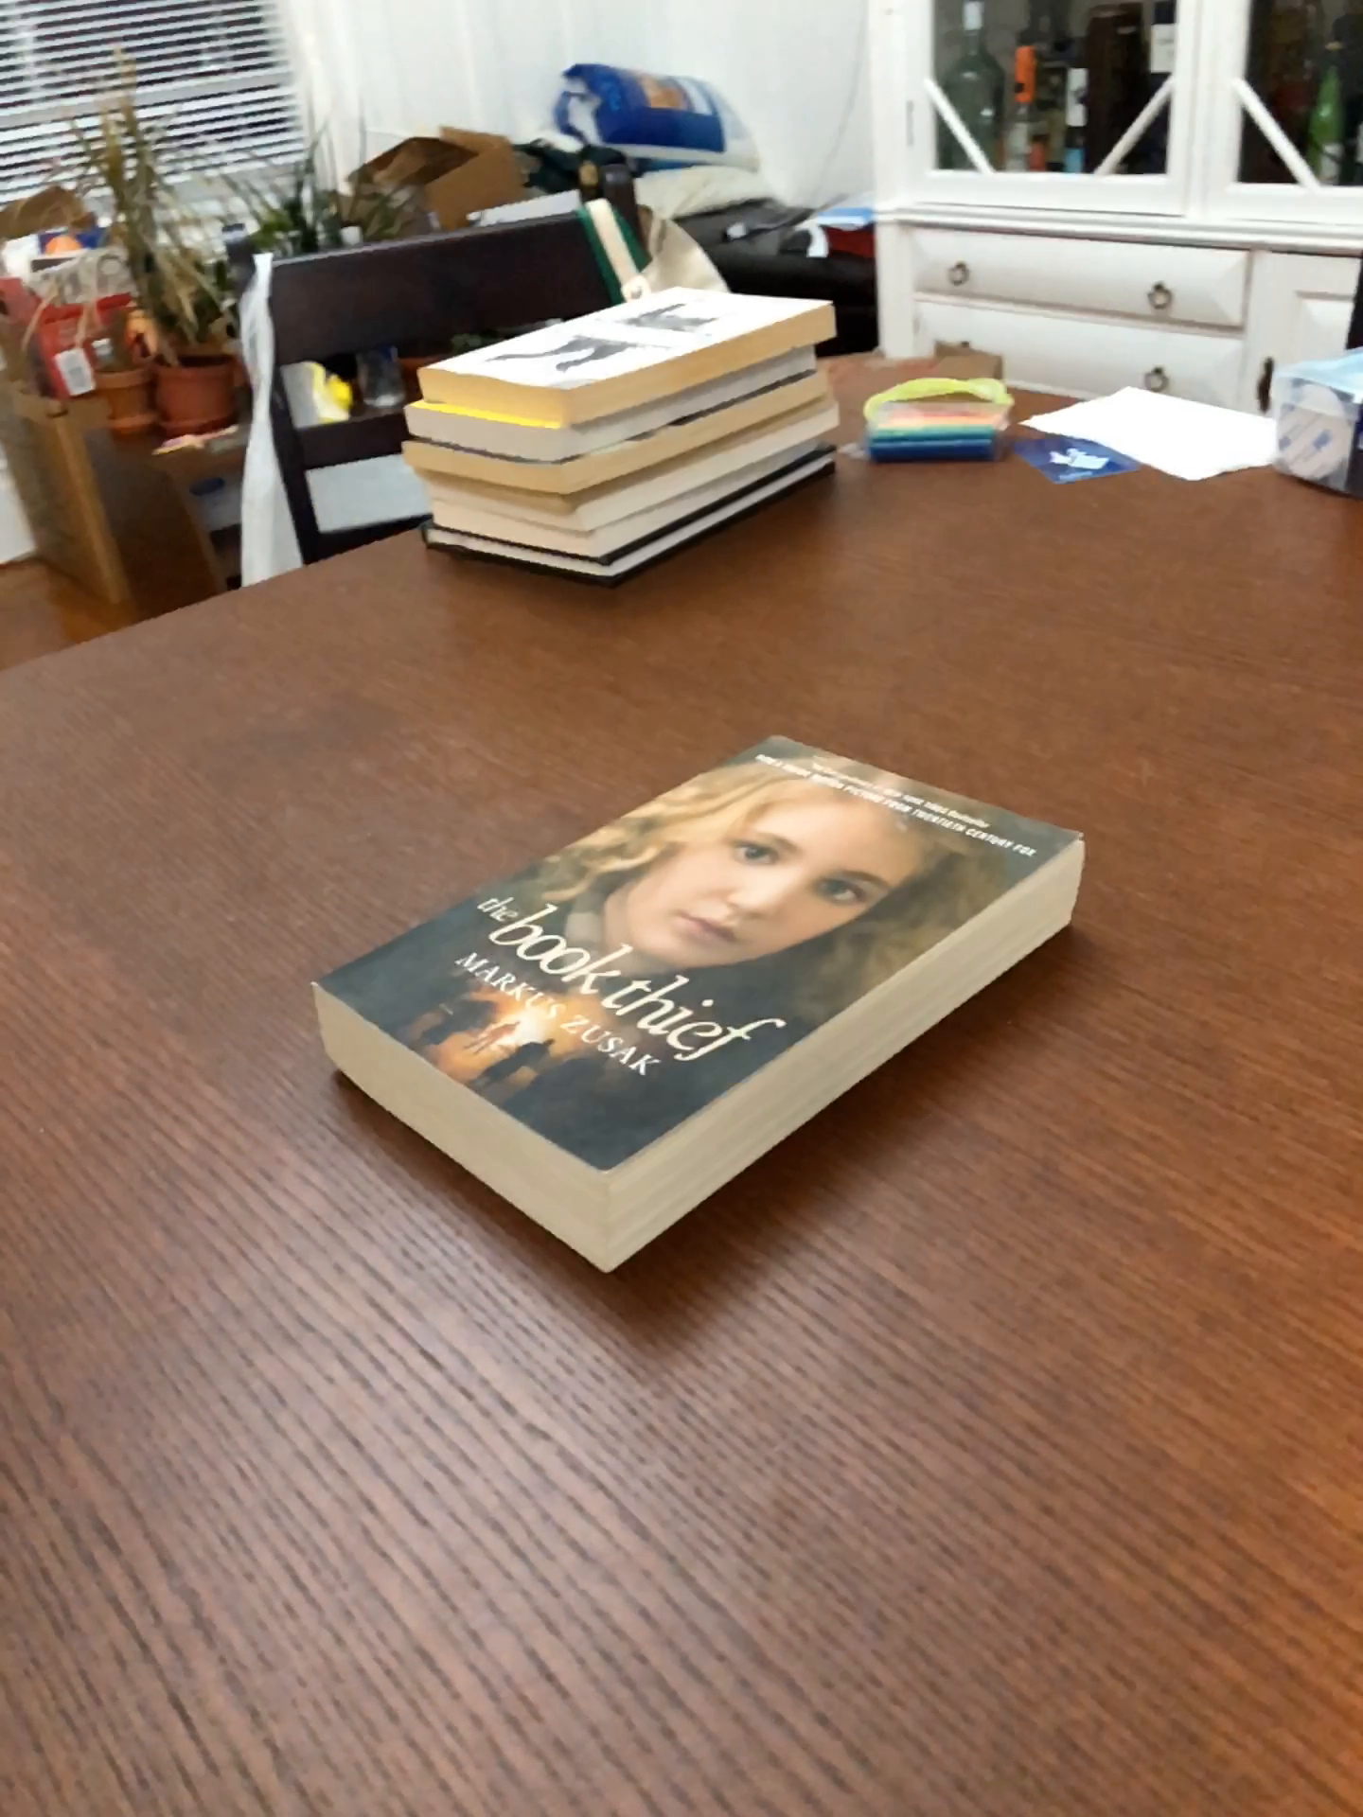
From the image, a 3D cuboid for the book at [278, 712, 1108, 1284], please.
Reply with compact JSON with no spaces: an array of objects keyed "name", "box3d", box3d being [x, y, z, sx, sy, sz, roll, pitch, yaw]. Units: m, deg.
[{"name":"book","box3d":[0.008,0.009,0.481,0.221,0.030,0.150,-31,39,-32]}]
